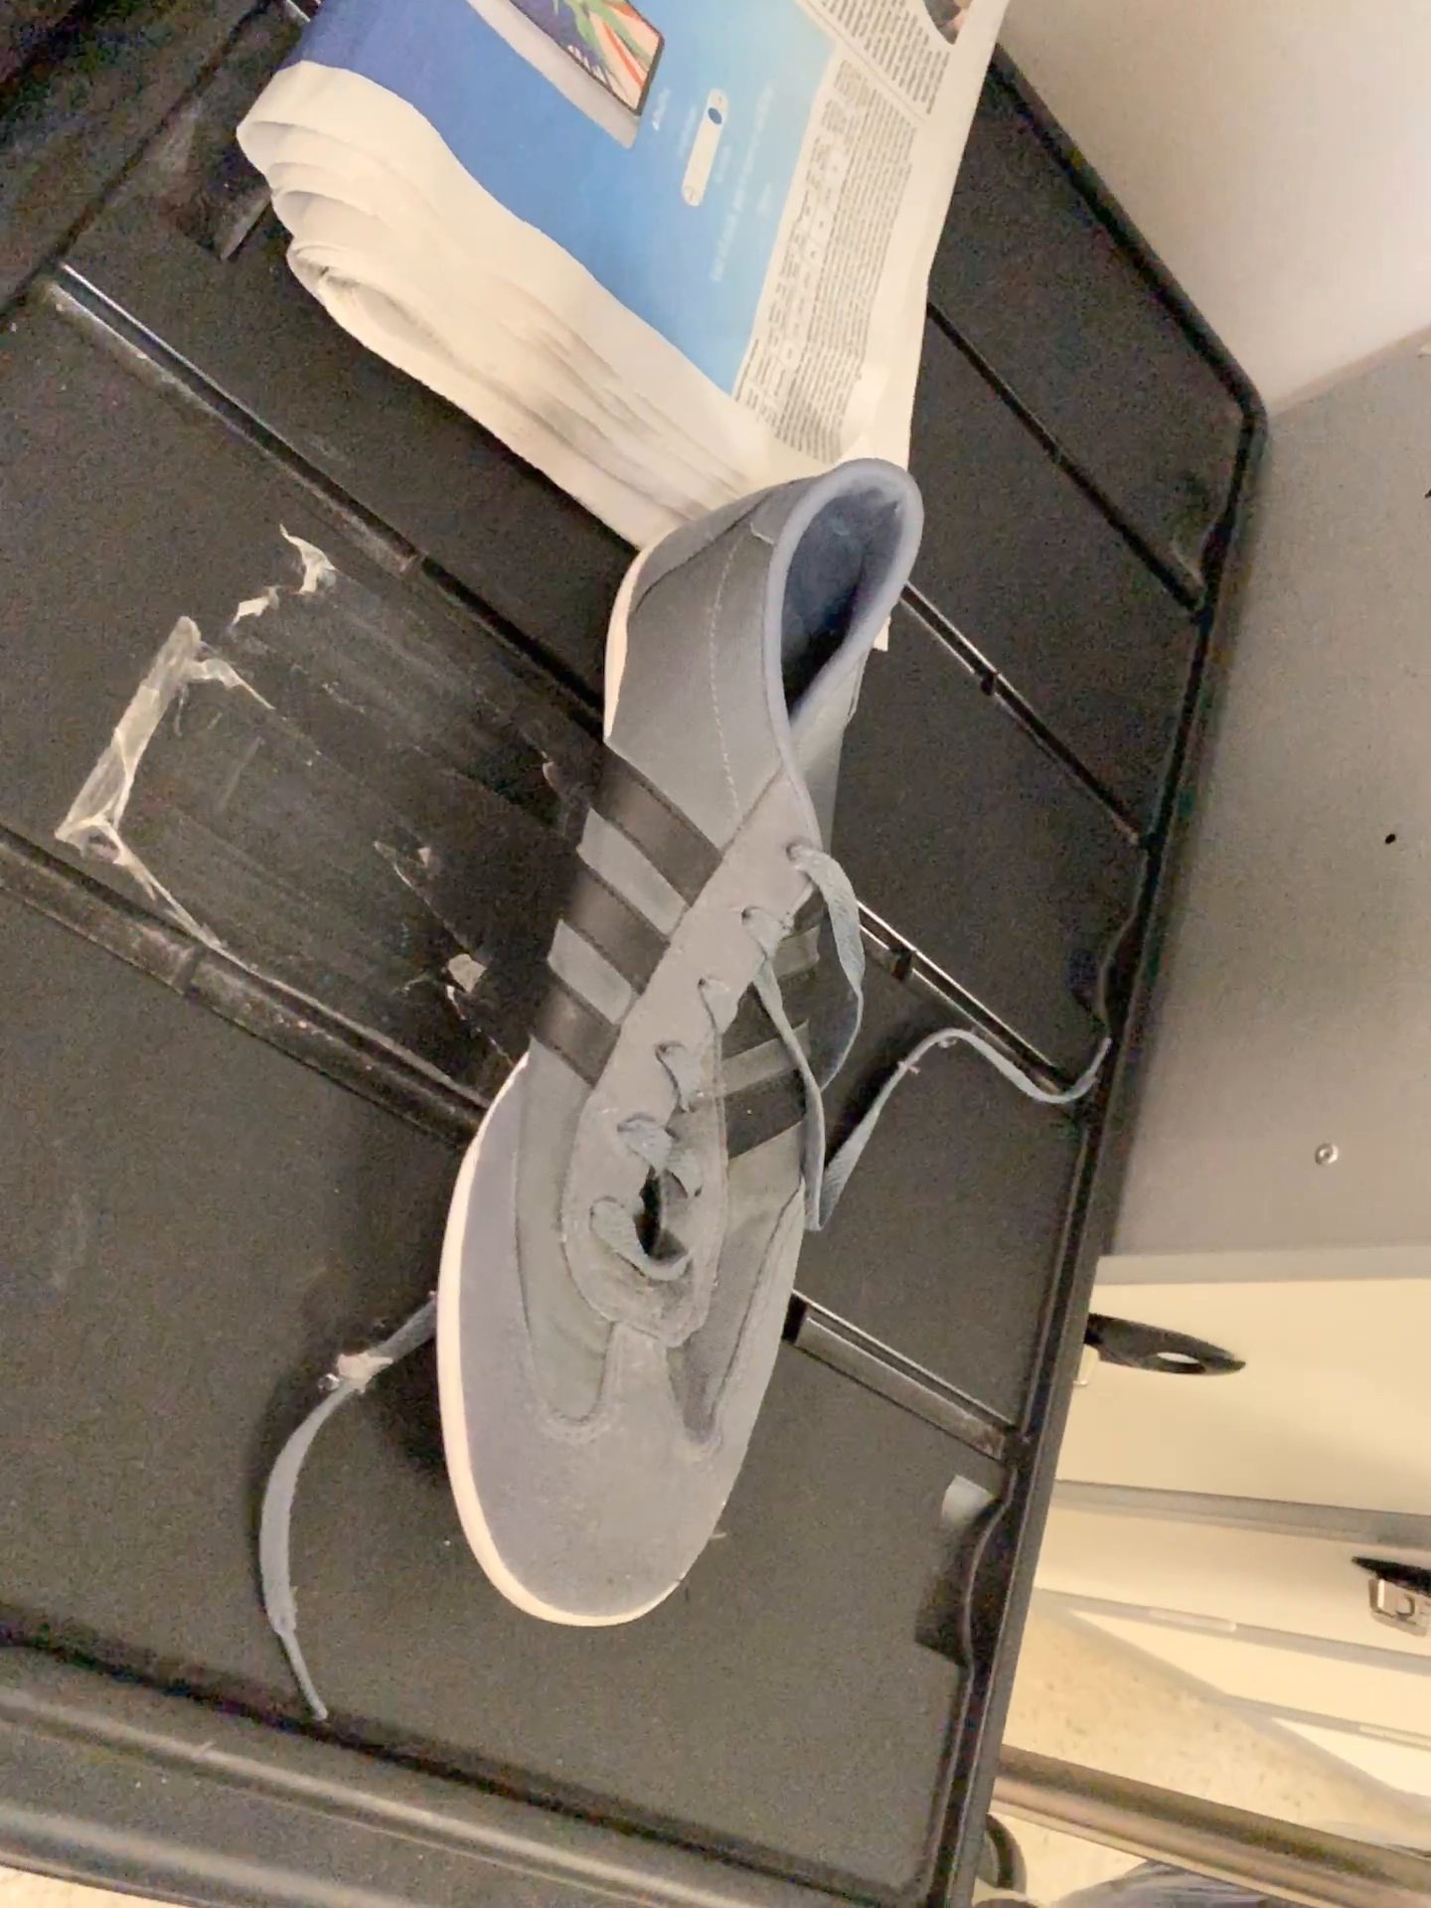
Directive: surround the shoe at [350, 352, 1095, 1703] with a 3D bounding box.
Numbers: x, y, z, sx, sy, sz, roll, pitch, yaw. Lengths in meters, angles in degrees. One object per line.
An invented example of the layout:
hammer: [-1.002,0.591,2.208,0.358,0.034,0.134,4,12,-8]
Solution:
shoe: [0.015,0.016,0.340,0.114,0.077,0.268,24,64,-35]
